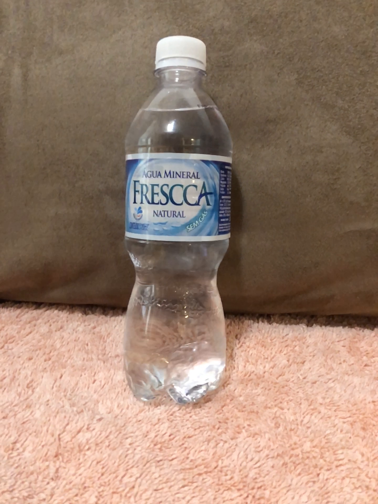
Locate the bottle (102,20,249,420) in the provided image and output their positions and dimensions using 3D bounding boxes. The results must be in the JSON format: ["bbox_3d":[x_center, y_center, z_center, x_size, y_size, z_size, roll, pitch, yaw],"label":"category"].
[{"bbox_3d":[-0.003,-0.017,0.267,0.070,0.209,0.080,2,8,13],"label":"bottle"}]
